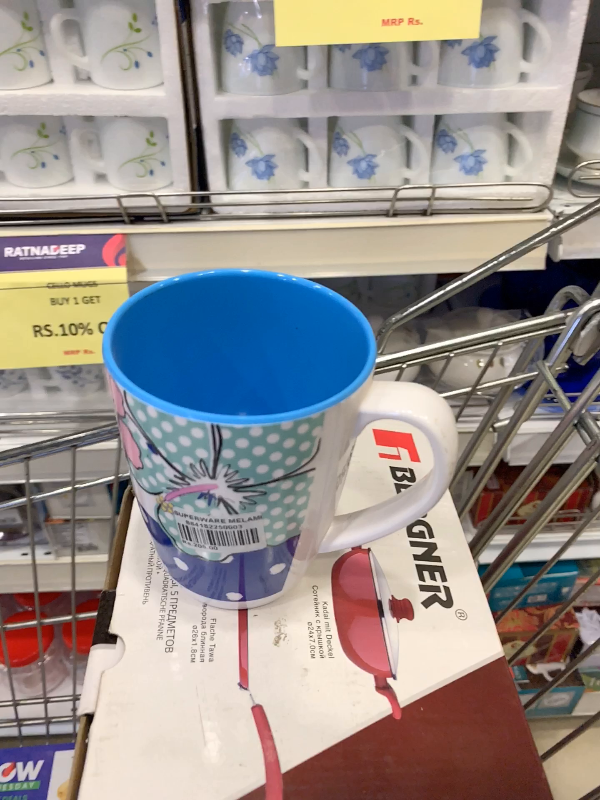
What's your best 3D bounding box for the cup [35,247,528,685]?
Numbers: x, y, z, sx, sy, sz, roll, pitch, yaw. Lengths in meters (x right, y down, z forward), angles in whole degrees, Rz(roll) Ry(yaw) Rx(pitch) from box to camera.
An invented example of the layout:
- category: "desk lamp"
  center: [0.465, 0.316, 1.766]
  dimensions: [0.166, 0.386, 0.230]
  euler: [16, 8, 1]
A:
- category: "cup"
  center: [-0.002, 0.020, 0.209]
  dimensions: [0.120, 0.100, 0.080]
  euler: [10, 40, 7]
